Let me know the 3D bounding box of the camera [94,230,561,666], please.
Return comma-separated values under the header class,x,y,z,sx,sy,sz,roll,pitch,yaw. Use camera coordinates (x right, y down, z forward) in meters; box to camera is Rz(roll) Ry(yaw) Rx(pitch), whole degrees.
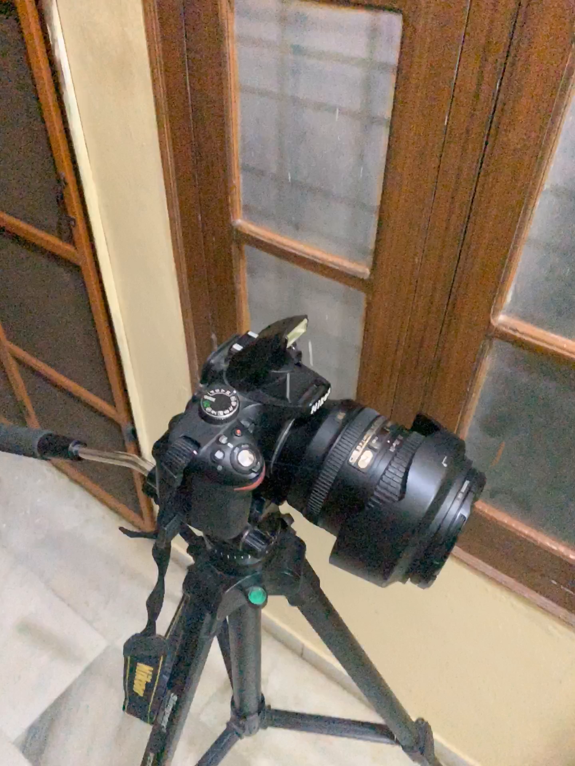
class,x,y,z,sx,sy,sz,roll,pitch,yaw
camera,0.023,0.023,0.355,0.200,0.129,0.150,24,46,23
